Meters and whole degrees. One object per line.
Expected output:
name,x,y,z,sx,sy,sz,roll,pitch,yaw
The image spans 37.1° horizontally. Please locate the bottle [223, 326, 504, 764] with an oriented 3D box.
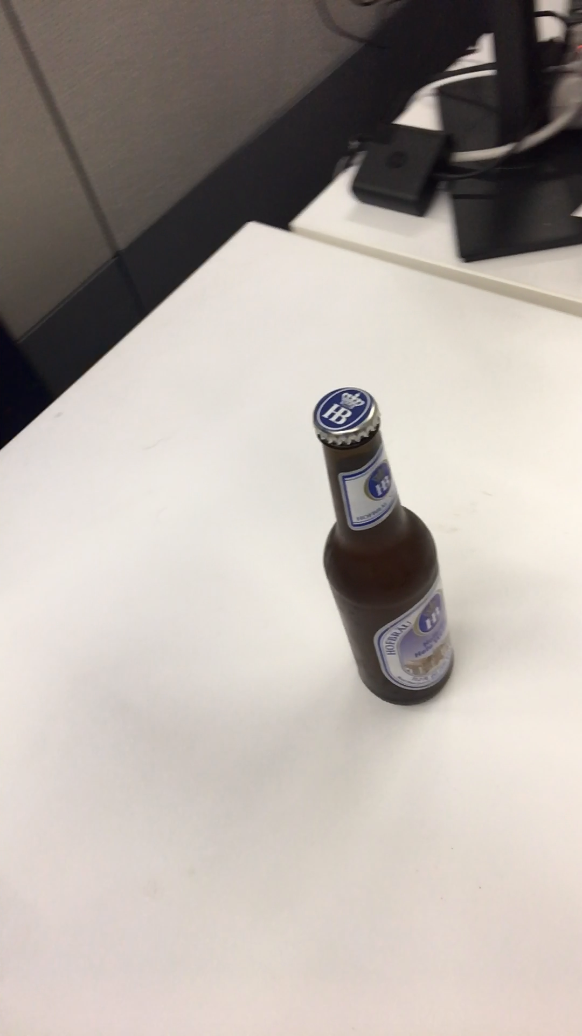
bottle,0.050,0.027,0.443,0.080,0.230,0.080,-7,52,9
